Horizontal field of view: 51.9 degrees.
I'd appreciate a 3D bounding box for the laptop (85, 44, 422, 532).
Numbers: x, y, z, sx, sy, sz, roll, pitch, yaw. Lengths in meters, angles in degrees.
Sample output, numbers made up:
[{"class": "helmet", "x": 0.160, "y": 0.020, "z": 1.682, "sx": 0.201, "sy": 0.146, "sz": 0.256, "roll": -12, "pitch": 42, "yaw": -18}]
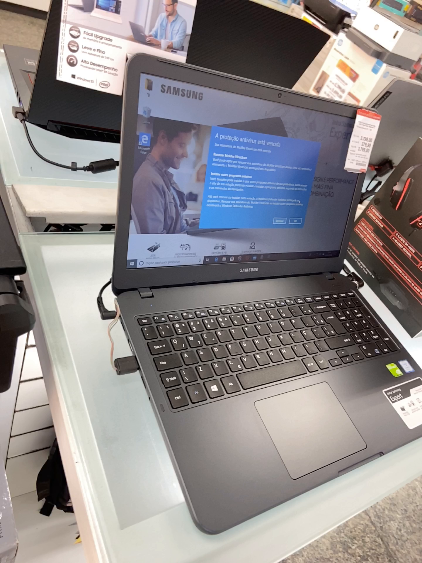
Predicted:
[{"class": "laptop", "x": 0.111, "y": -0.026, "z": 0.477, "sx": 0.372, "sy": 0.207, "sz": 0.372, "roll": -5, "pitch": 50, "yaw": -34}]
